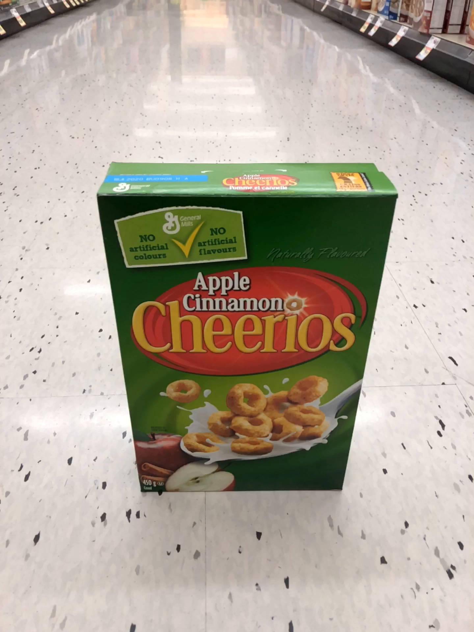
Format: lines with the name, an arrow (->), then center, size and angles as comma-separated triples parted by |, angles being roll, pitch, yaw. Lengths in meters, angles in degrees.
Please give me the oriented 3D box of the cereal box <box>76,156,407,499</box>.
cereal box -> 0.001, 0.026, 0.401 | 0.190, 0.278, 0.060 | 0, 34, -2
